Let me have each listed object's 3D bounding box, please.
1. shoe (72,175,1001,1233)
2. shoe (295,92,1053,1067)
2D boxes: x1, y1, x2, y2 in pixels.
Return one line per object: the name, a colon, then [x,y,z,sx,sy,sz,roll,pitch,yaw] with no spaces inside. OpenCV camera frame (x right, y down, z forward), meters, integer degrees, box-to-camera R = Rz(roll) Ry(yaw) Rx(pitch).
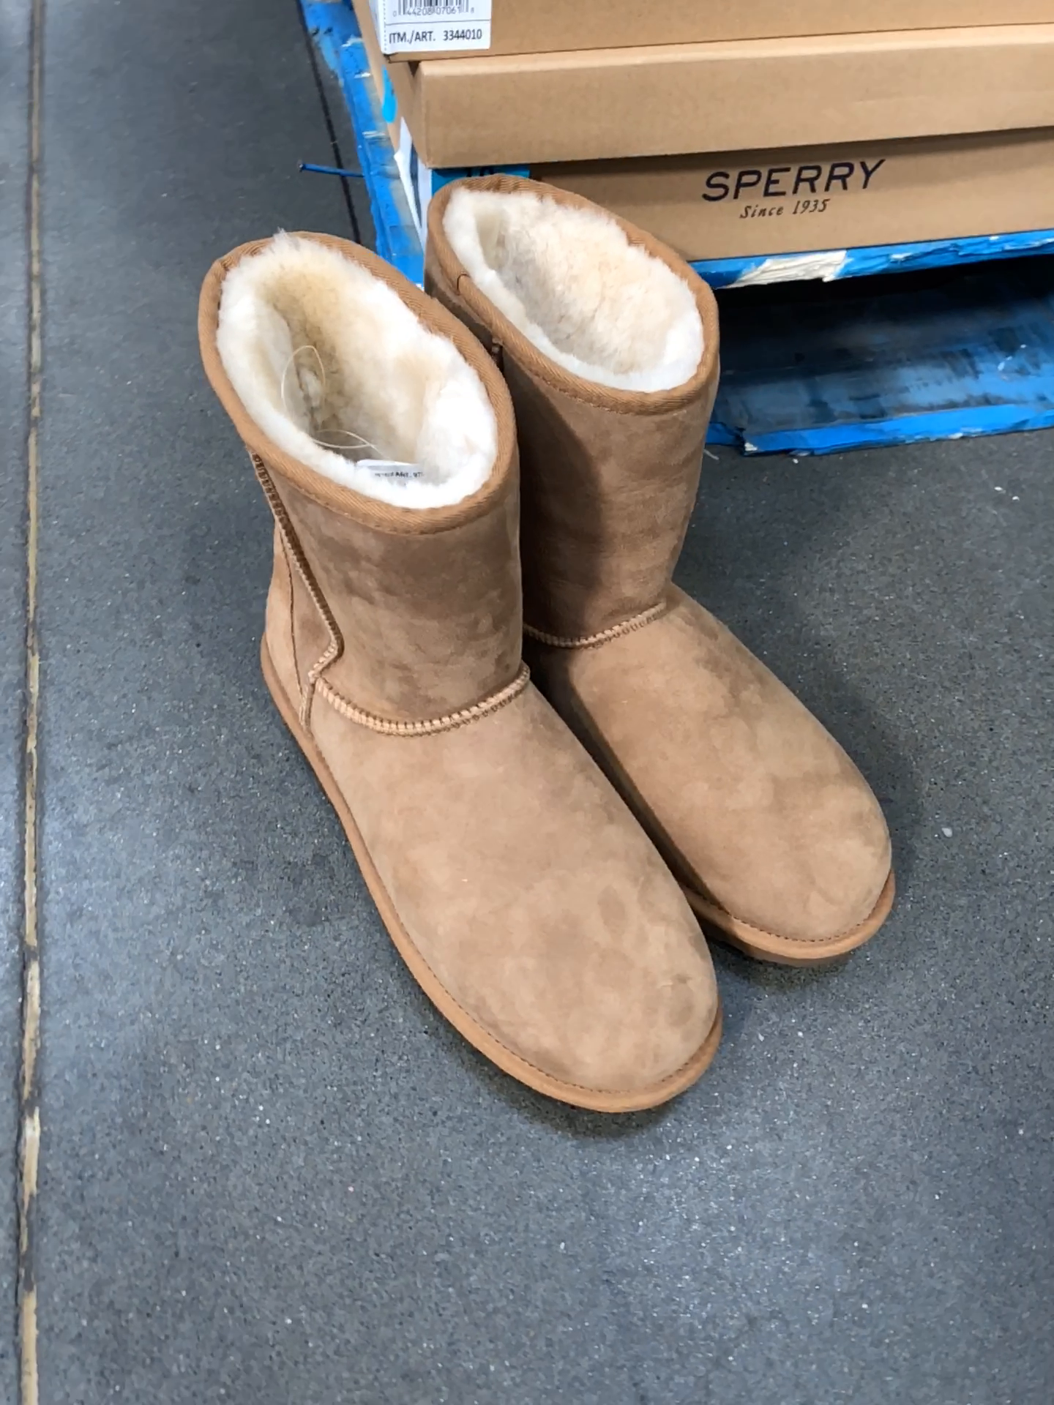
shoe: [-0.022,0.007,0.463,0.130,0.259,0.310,-28,62,-21]
shoe: [0.052,-0.046,0.503,0.130,0.259,0.310,-32,63,-23]
